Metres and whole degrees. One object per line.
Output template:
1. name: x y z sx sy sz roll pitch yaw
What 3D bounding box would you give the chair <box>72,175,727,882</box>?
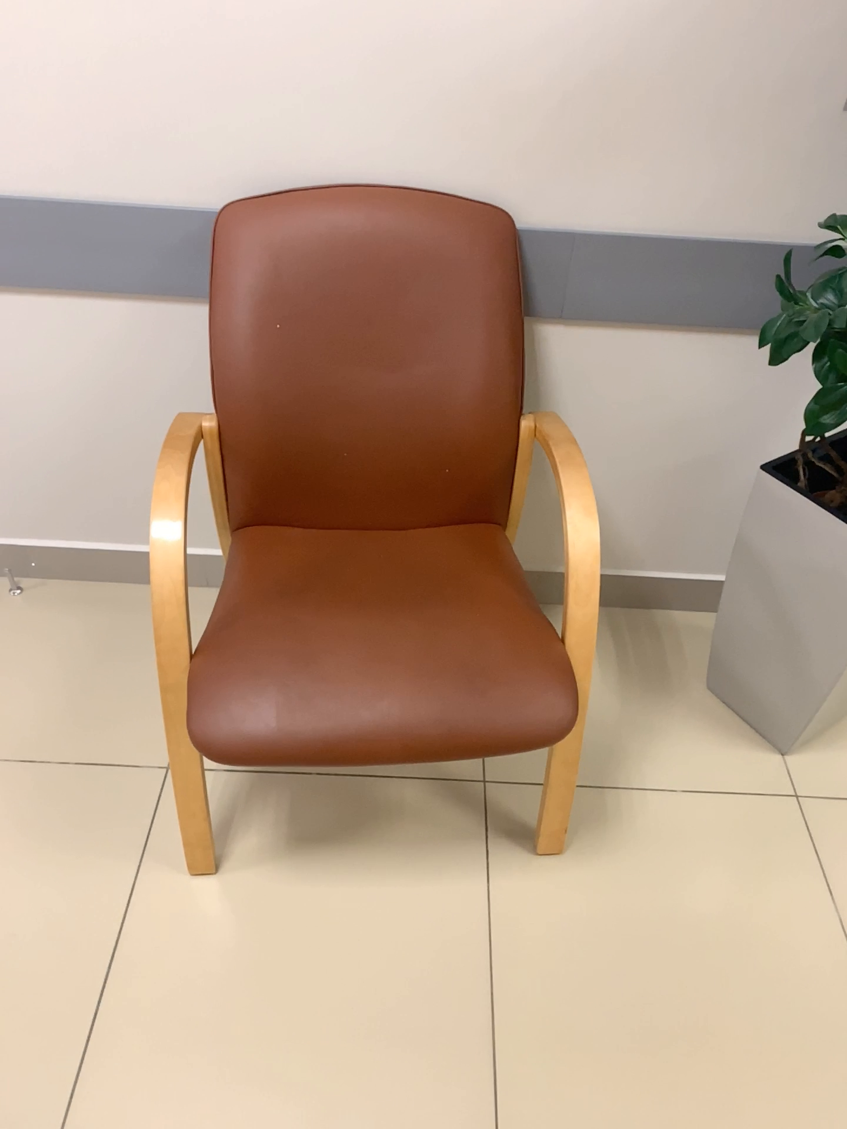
1. chair: -0.060 -0.021 1.435 0.670 0.985 0.603 -1 41 -5
